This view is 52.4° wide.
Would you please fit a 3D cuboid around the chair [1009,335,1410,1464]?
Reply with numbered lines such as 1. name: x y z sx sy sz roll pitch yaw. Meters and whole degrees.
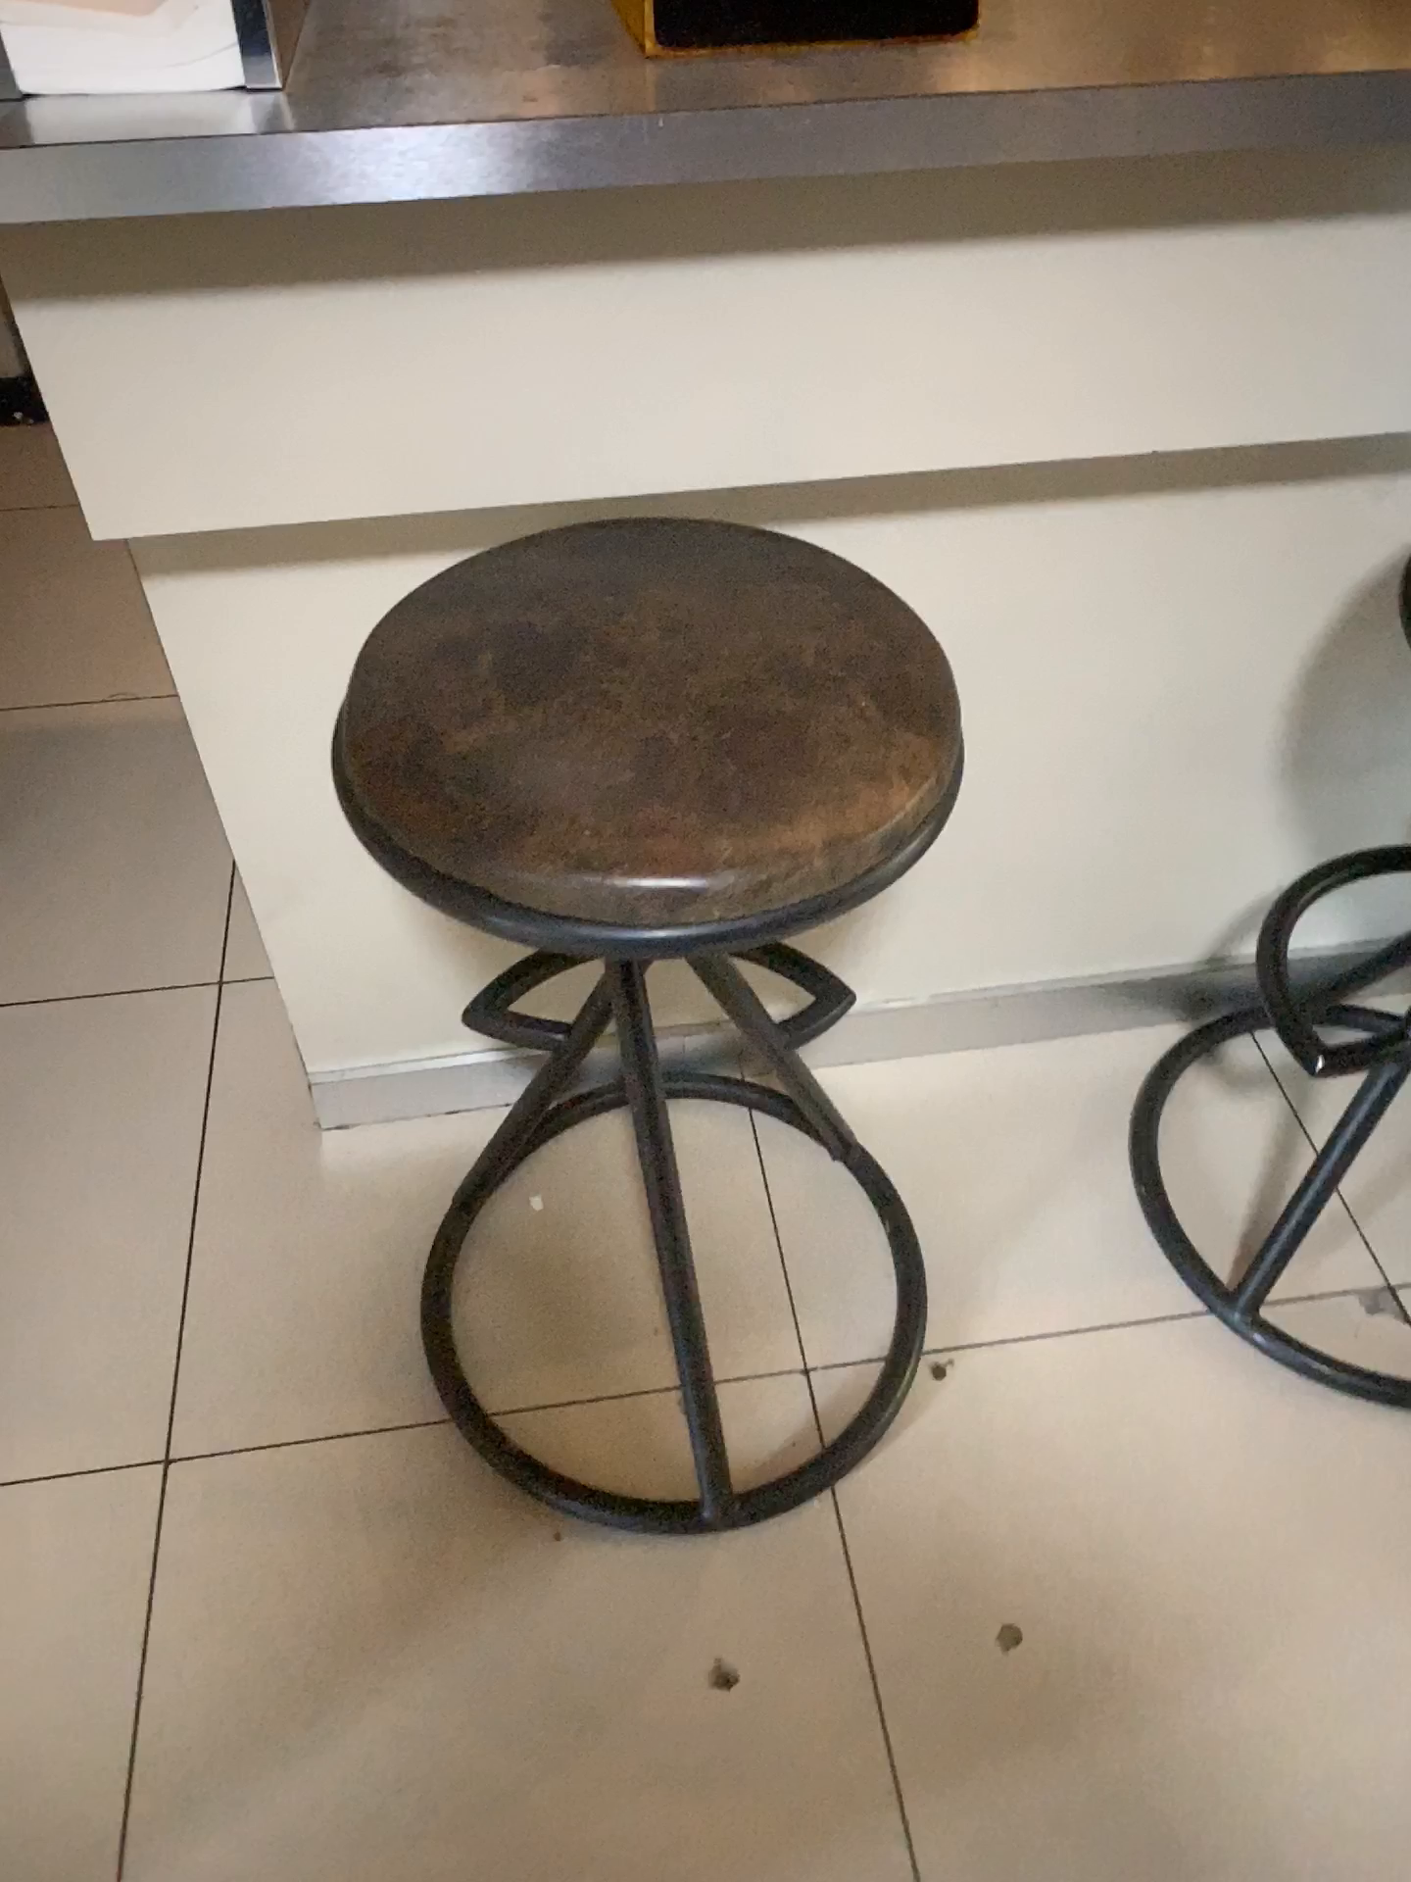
1. chair: 0.658 -0.019 1.215 0.549 0.728 0.530 -8 46 -7

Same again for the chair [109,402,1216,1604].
1. chair: -0.055 0.064 1.151 0.549 0.728 0.550 -8 46 -7
